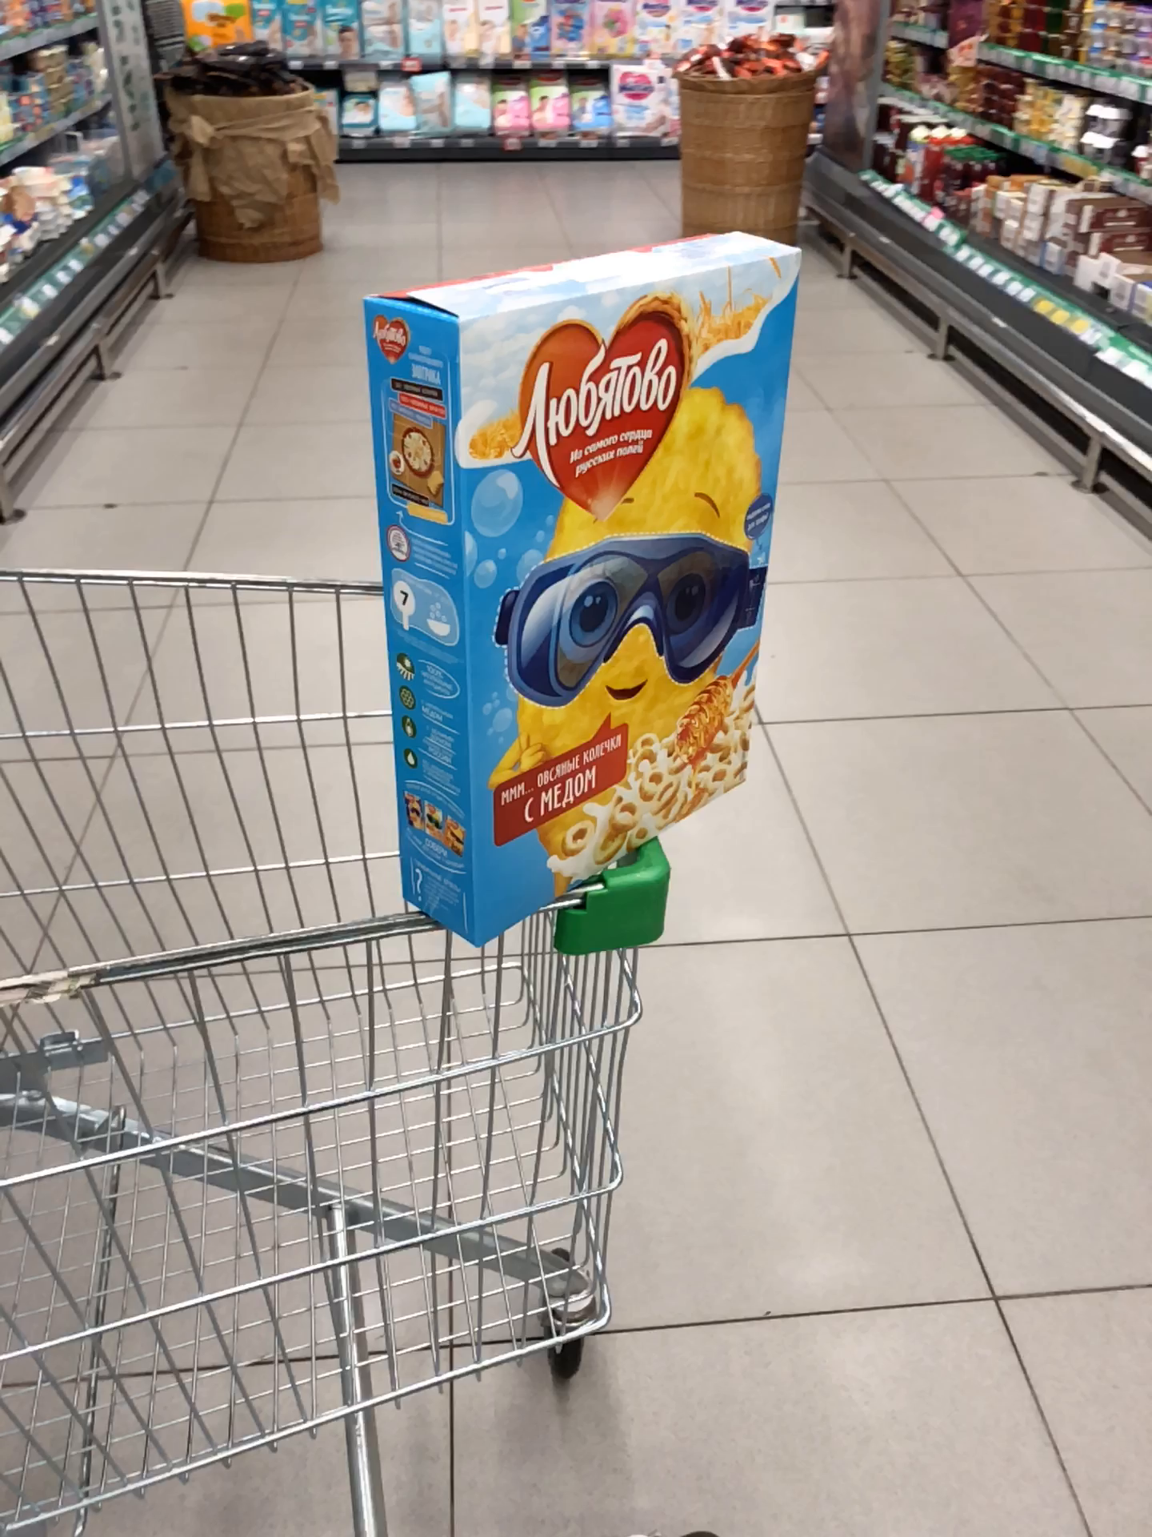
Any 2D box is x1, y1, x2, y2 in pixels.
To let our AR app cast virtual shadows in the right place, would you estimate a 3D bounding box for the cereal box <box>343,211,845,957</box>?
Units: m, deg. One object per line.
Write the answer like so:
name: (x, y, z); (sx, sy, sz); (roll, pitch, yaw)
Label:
cereal box: (0.013, -0.080, 0.517); (0.060, 0.249, 0.201); (27, 40, 35)
